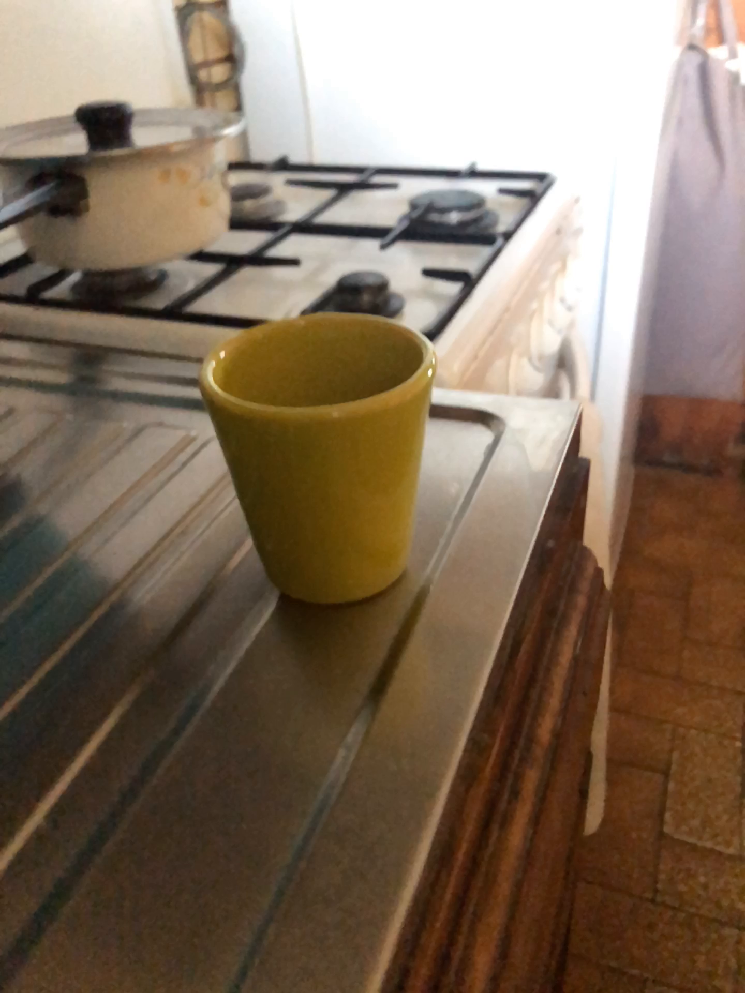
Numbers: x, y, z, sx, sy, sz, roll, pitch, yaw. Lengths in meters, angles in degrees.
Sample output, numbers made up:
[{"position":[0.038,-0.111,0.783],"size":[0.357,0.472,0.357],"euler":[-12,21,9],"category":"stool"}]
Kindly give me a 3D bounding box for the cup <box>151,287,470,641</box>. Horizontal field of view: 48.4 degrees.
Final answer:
[{"position":[-0.015,-0.016,0.304],"size":[0.080,0.089,0.081],"euler":[-3,34,2],"category":"cup"}]
